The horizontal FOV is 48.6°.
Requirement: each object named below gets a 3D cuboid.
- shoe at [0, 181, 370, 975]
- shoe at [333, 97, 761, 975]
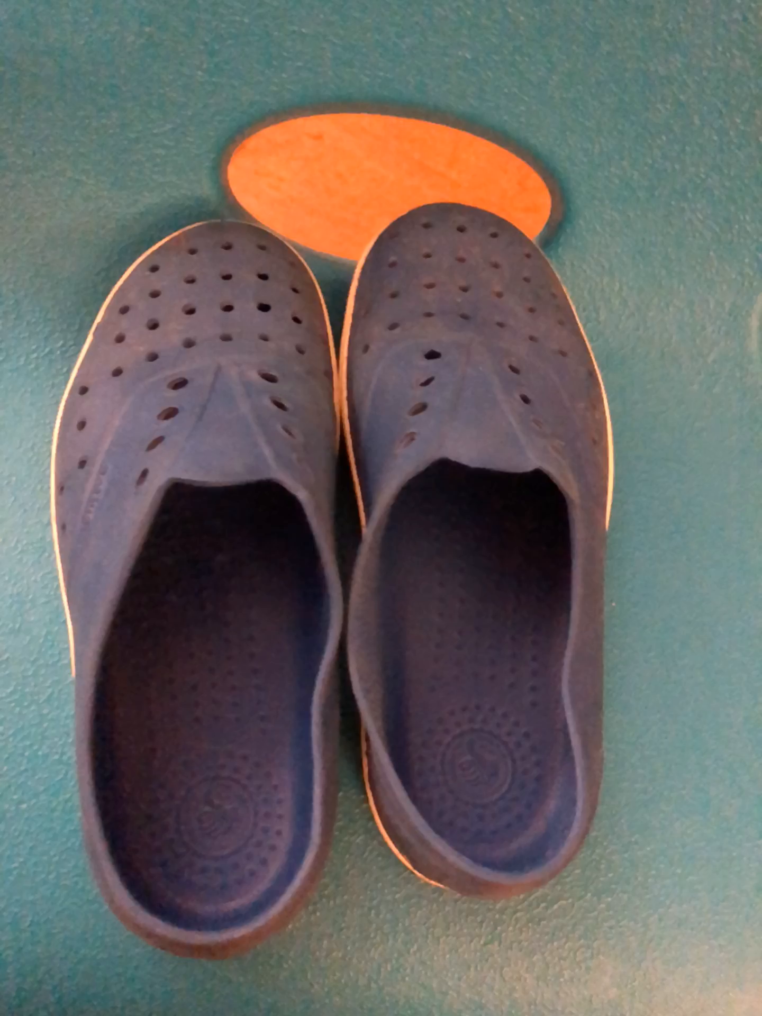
[{"bbox_3d":[-0.056,0.015,0.264,0.090,0.080,0.210,0,74,-7],"label":"shoe"},{"bbox_3d":[0.039,0.000,0.264,0.100,0.070,0.240,0,74,-7],"label":"shoe"}]
